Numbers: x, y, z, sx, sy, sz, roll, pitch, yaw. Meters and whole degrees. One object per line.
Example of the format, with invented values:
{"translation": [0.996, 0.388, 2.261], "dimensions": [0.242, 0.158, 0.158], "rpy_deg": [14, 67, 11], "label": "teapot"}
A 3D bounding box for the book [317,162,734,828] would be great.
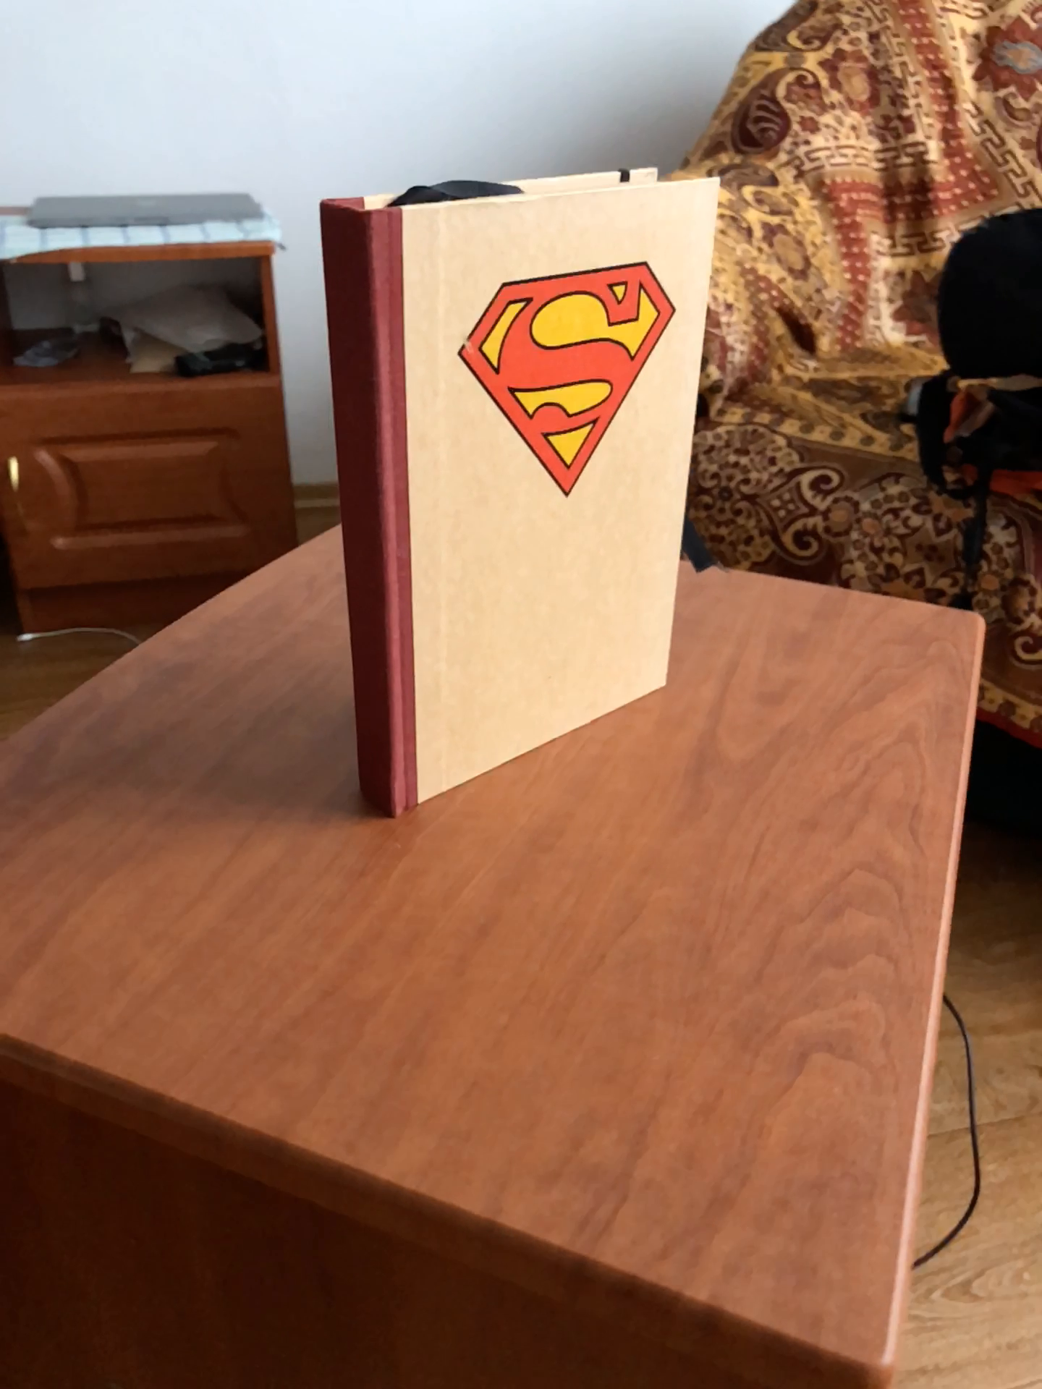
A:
{"translation": [0.005, -0.074, 0.423], "dimensions": [0.155, 0.212, 0.032], "rpy_deg": [-24, 39, -37], "label": "book"}
